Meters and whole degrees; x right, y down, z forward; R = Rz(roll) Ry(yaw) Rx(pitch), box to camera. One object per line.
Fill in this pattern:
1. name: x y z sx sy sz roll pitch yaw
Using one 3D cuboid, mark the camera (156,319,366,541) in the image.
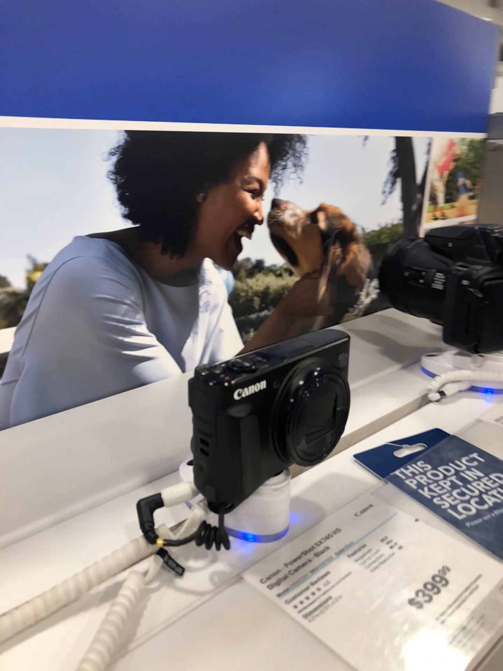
1. camera: 0.011 0.042 0.298 0.040 0.070 0.120 15 24 39
